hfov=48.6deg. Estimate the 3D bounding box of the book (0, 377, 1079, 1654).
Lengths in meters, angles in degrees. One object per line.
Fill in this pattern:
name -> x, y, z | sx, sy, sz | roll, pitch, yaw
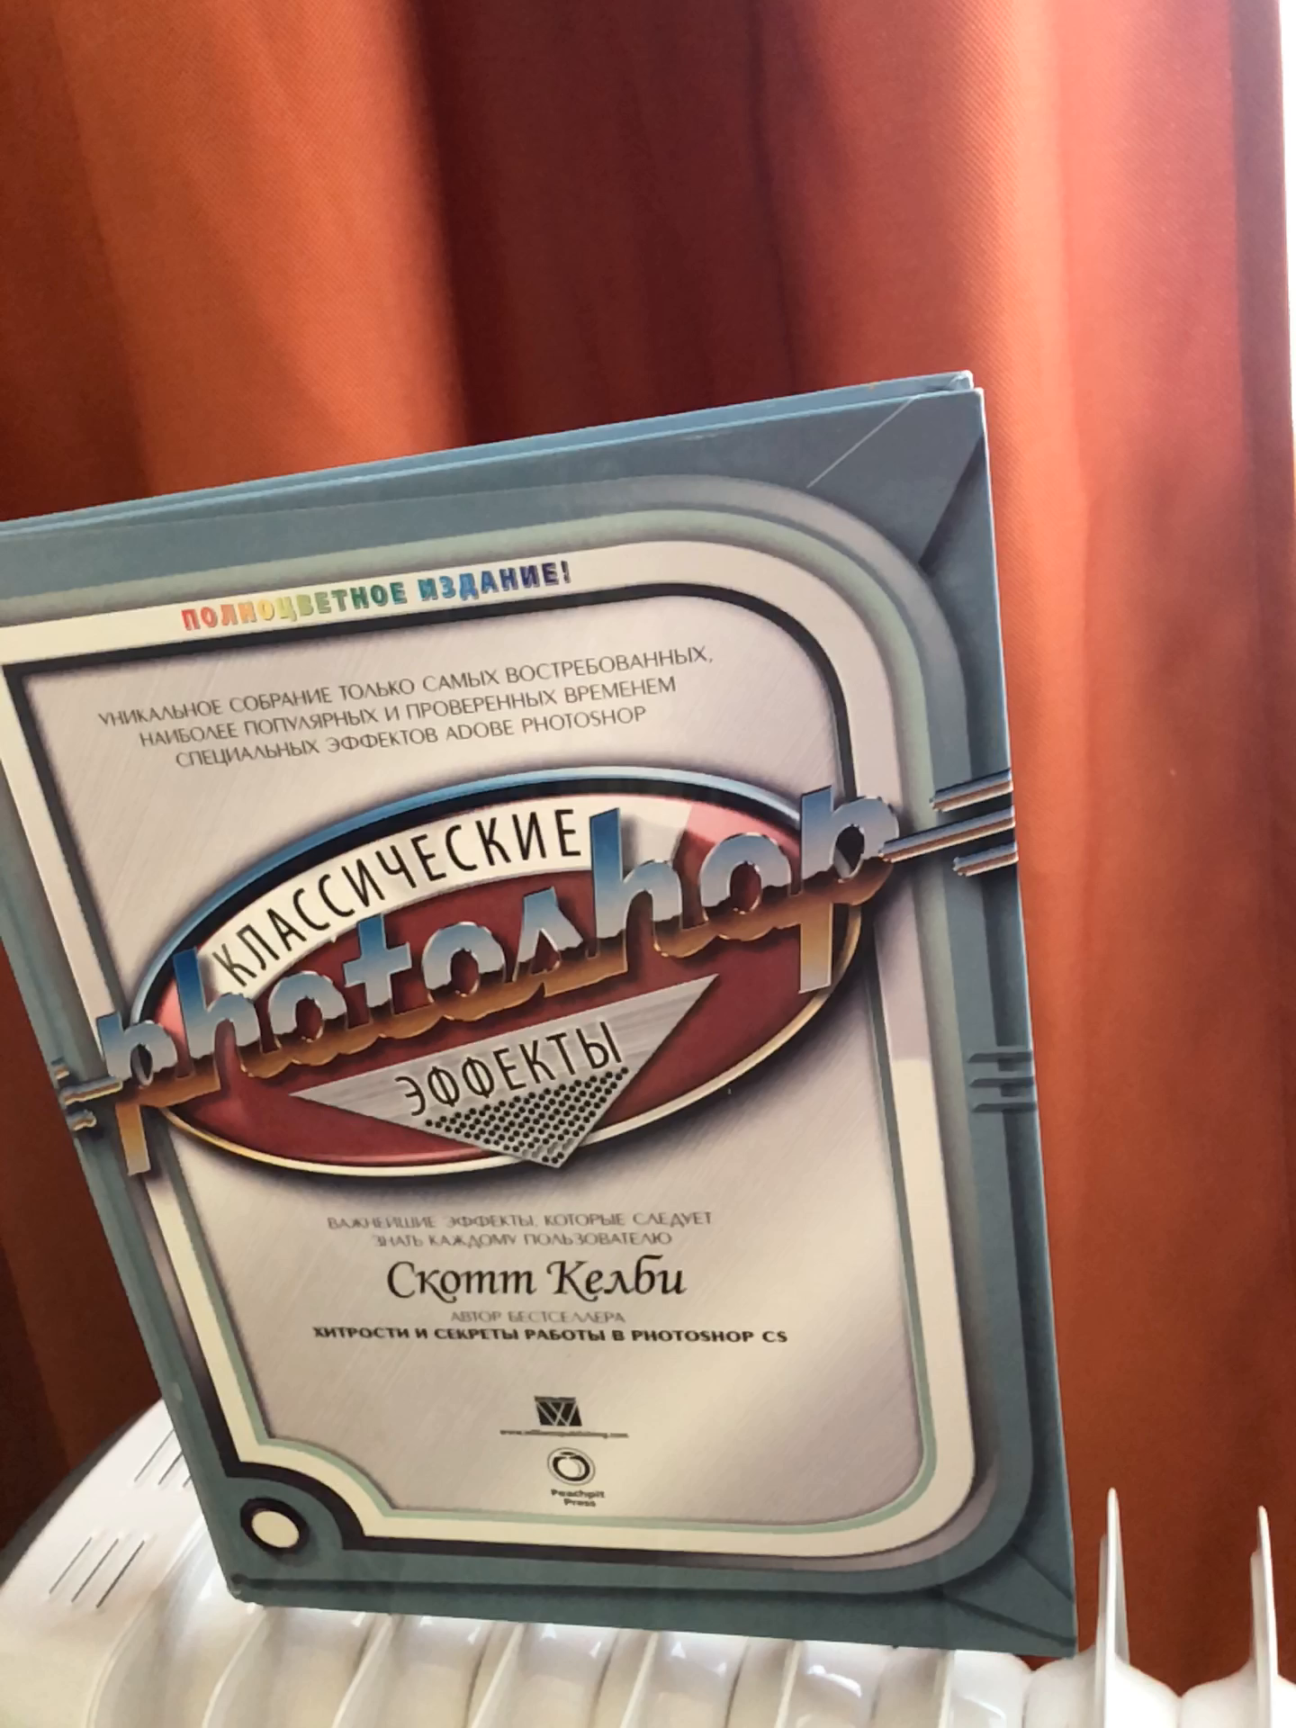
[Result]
book -> -0.029, 0.053, 0.323 | 0.225, 0.276, 0.040 | -4, 21, 14
